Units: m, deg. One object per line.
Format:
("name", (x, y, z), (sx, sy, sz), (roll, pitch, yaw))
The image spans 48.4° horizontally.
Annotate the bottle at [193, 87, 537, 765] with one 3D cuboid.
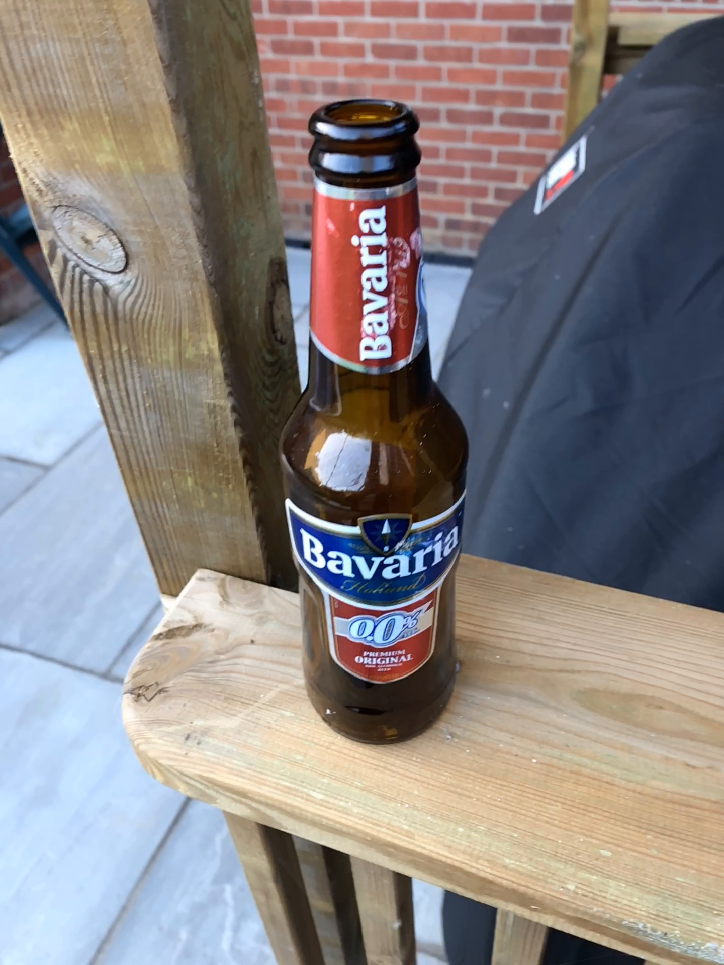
("bottle", (0.003, -0.001, 0.251), (0.070, 0.208, 0.061), (-2, 37, 0))
